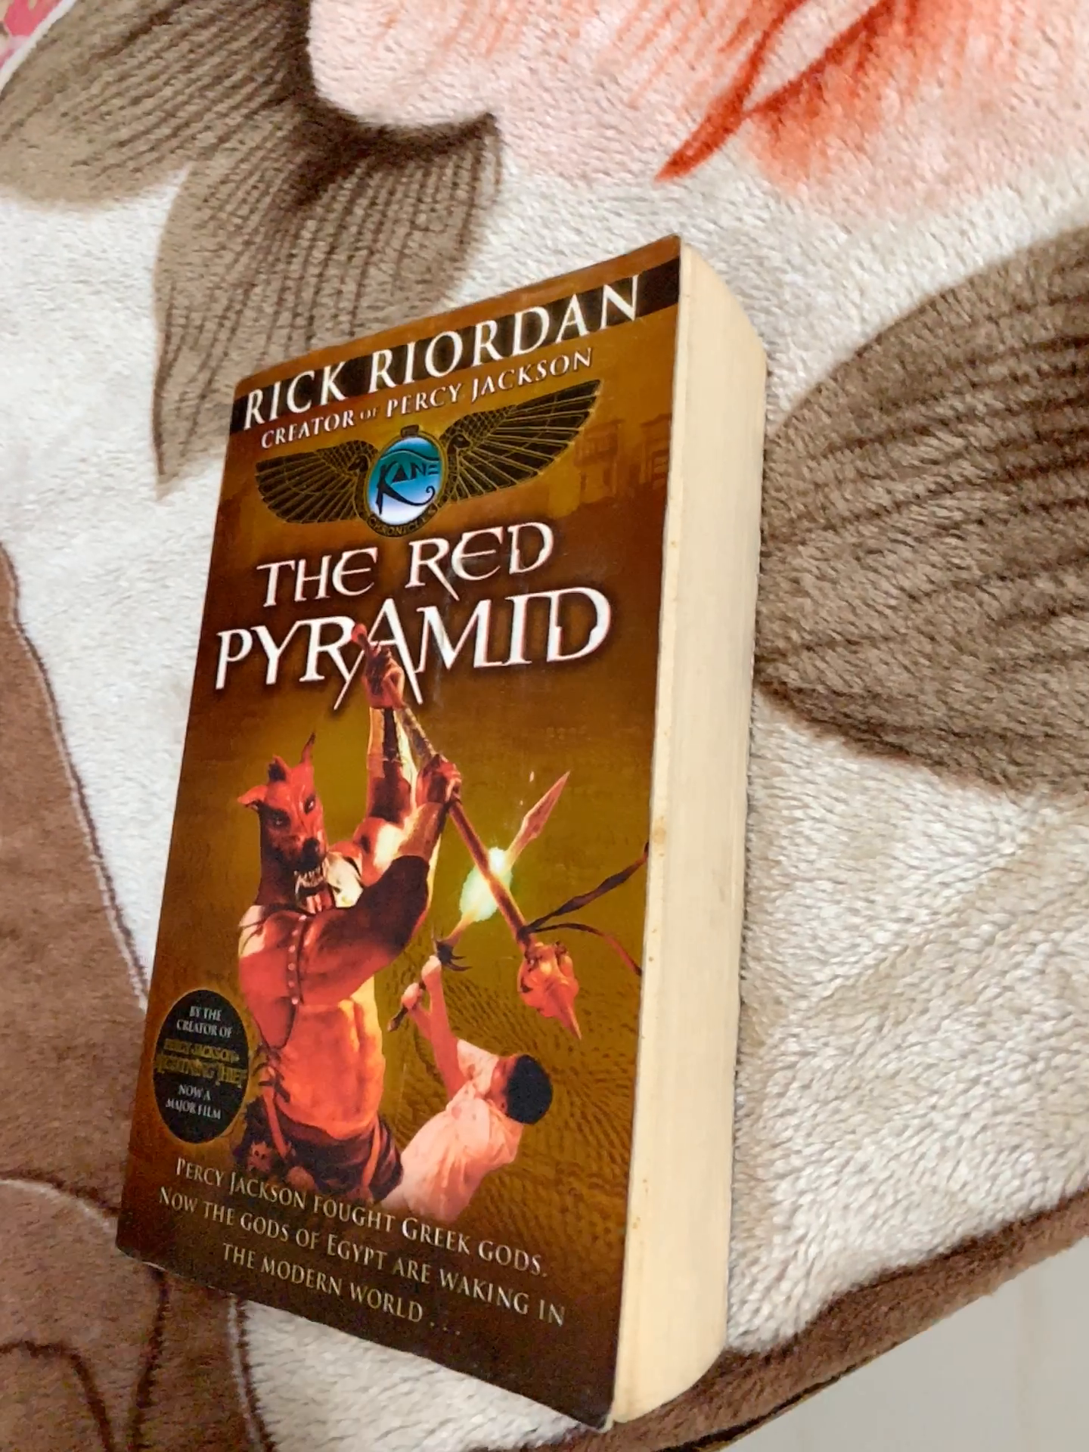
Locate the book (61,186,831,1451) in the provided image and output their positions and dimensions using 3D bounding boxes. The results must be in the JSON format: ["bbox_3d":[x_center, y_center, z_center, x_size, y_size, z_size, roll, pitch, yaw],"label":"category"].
[{"bbox_3d":[-0.021,0.011,0.247,0.151,0.040,0.220,-3,75,31],"label":"book"}]
